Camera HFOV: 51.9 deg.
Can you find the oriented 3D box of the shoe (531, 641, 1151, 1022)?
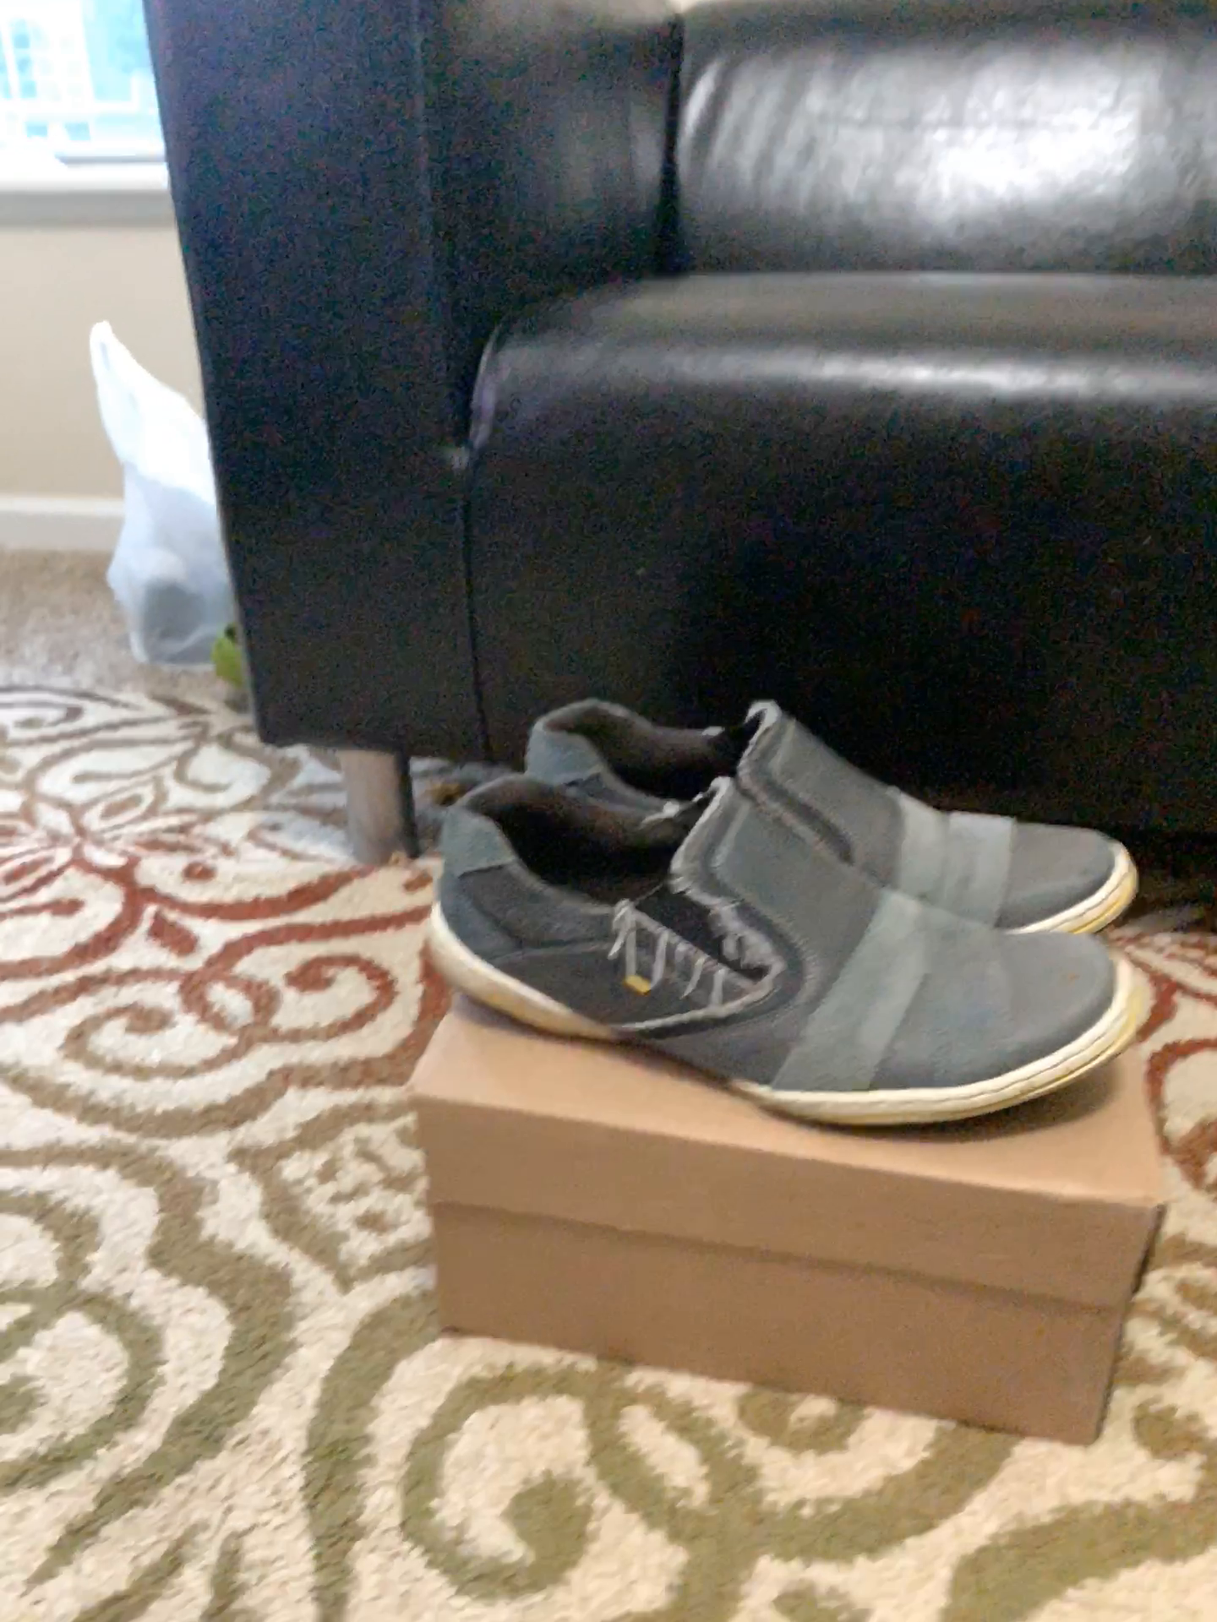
[{"bbox_3d":[0.111,-0.002,0.605,0.260,0.100,0.141,8,26,18],"label":"shoe"}]

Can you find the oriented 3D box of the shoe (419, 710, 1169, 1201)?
[{"bbox_3d":[0.075,0.043,0.510,0.260,0.100,0.141,8,26,18],"label":"shoe"}]
